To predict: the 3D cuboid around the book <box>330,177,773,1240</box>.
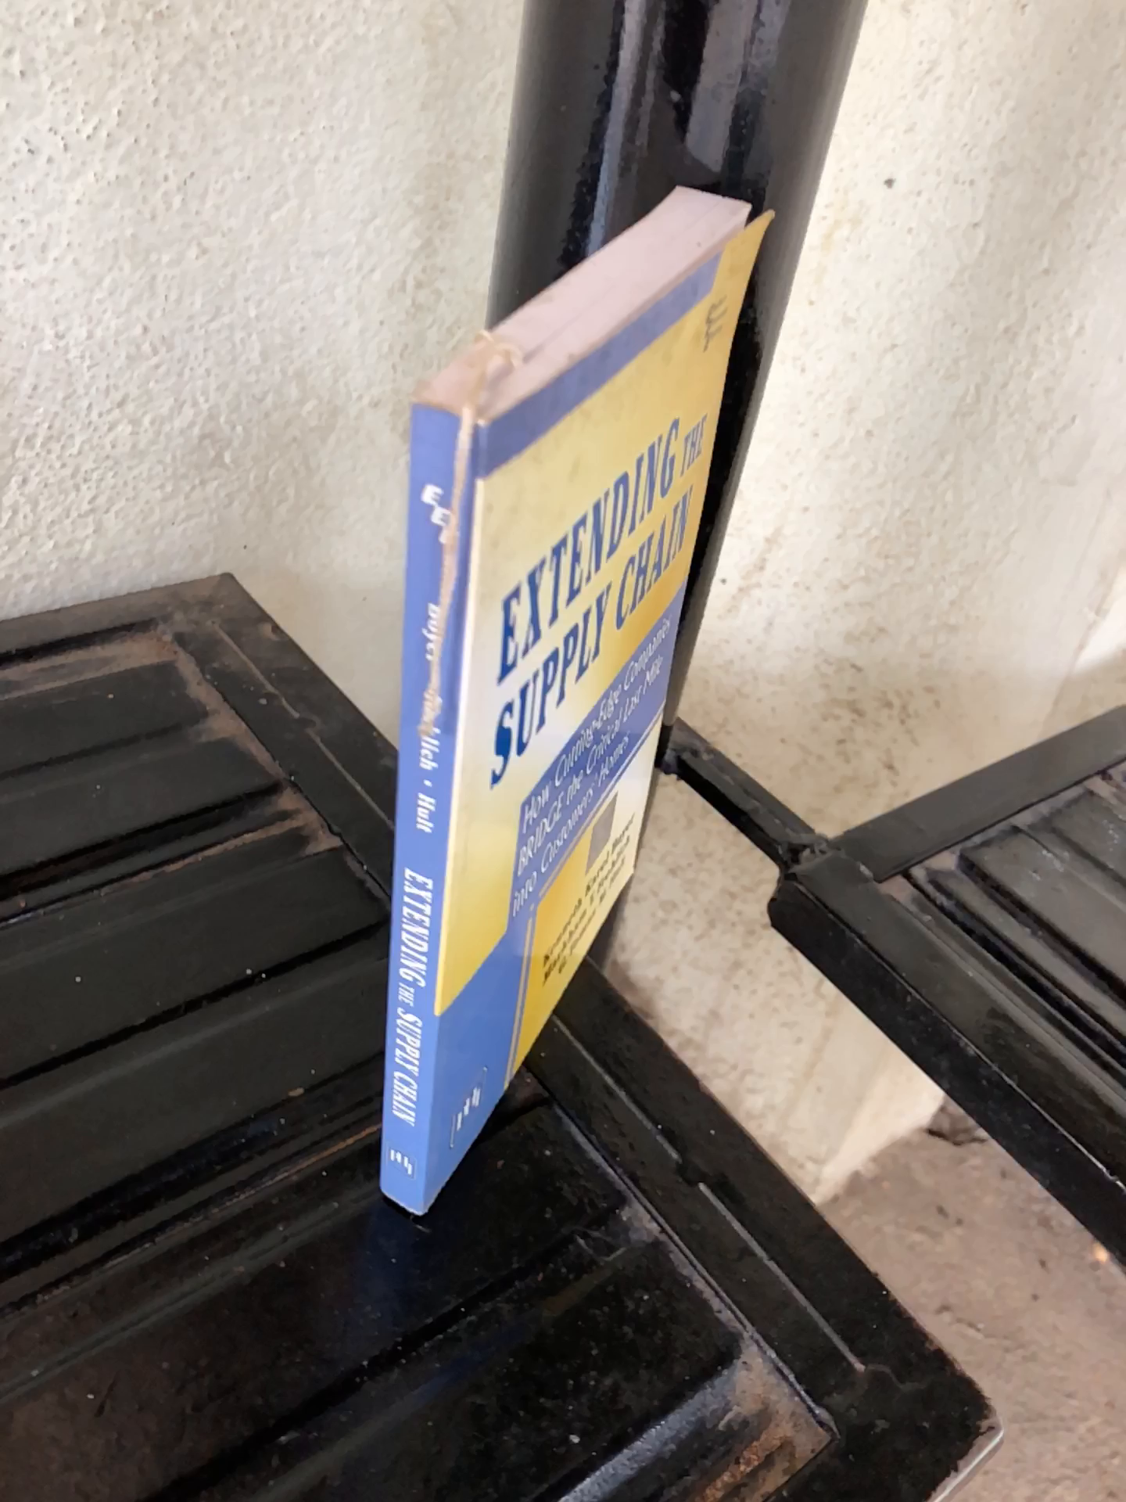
[{"bbox_3d":[-0.006,-0.008,0.318,0.030,0.229,0.151,19,38,15],"label":"book"}]
